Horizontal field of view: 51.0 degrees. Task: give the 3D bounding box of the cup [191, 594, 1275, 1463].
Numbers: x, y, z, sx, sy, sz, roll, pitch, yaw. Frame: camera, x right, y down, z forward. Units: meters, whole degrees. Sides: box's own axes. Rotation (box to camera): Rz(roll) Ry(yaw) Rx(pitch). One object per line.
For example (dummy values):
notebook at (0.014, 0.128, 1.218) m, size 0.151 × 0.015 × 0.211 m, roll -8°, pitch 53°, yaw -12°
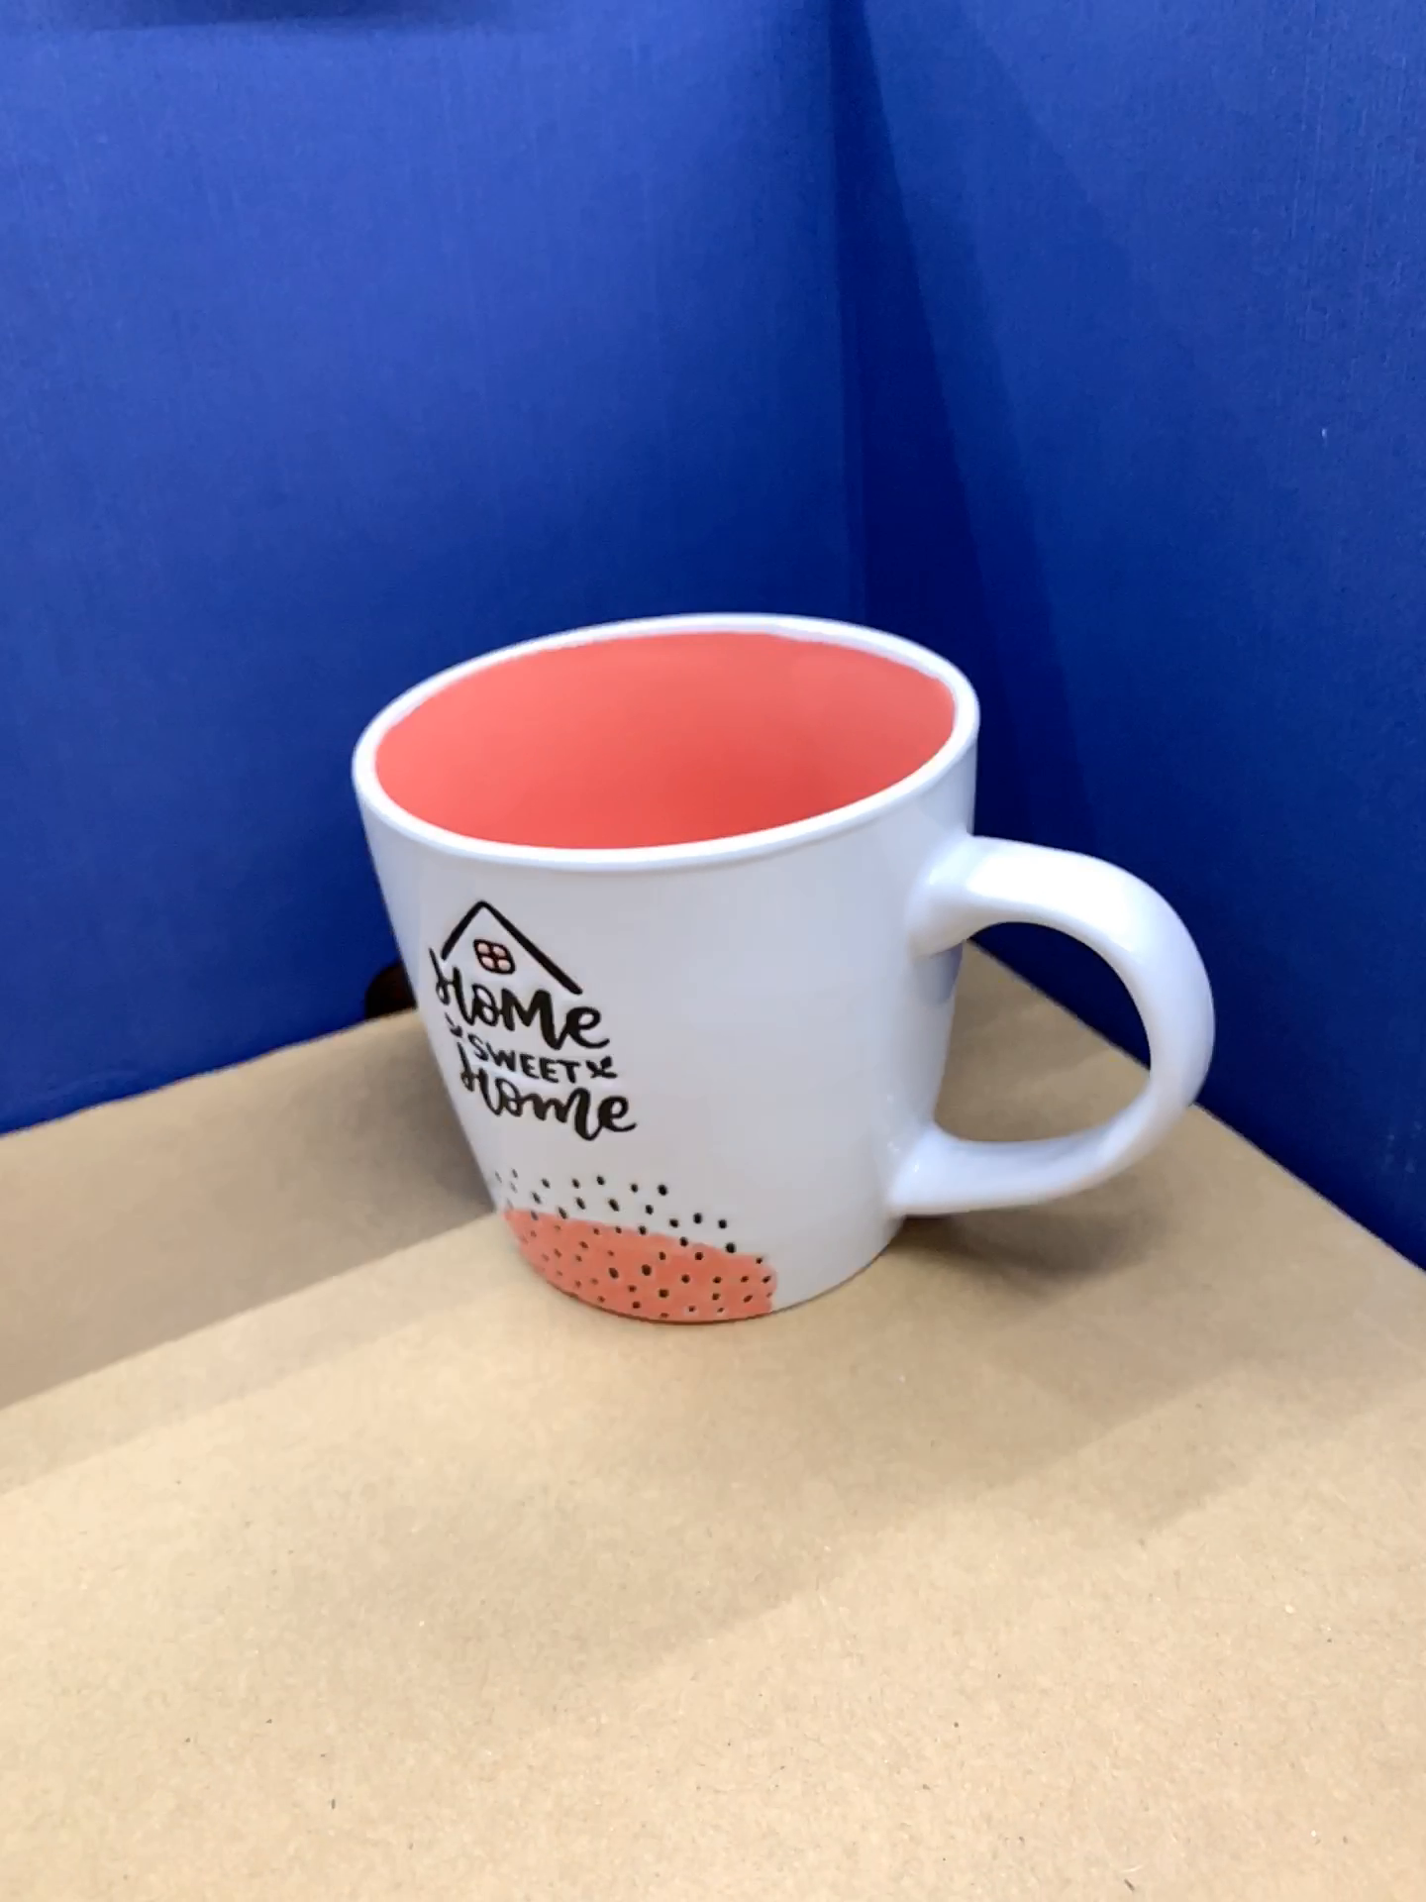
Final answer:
cup at (0.008, -0.001, 0.209) m, size 0.115 × 0.070 × 0.083 m, roll 10°, pitch 31°, yaw 25°
